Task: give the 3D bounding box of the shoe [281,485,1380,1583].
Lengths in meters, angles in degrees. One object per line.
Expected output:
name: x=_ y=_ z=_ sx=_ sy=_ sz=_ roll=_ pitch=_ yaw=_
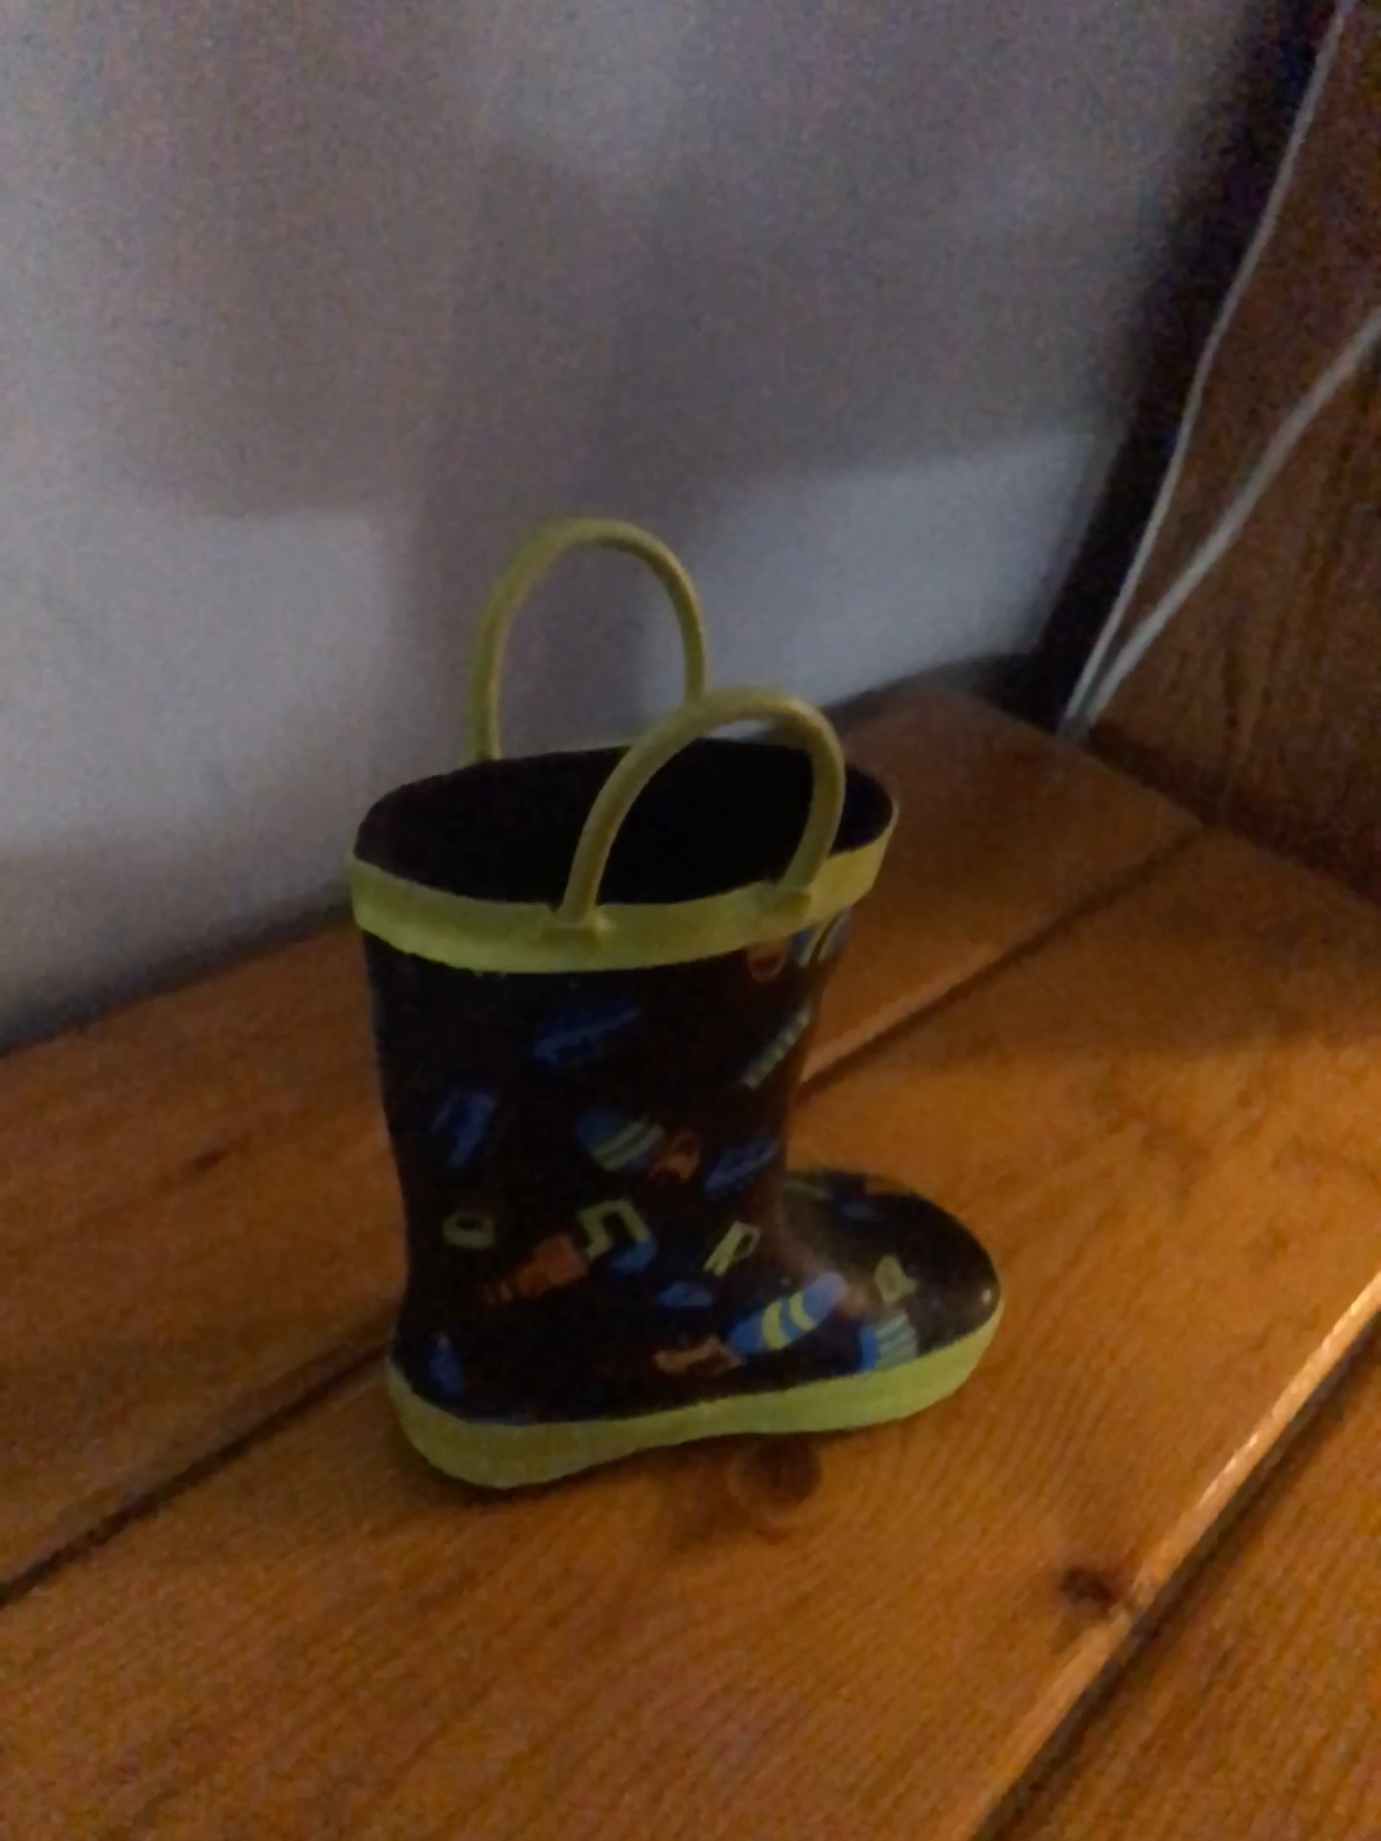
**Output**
shoe: x=0.012 y=0.025 z=0.321 sx=0.170 sy=0.199 sz=0.080 roll=-4 pitch=38 yaw=-24
